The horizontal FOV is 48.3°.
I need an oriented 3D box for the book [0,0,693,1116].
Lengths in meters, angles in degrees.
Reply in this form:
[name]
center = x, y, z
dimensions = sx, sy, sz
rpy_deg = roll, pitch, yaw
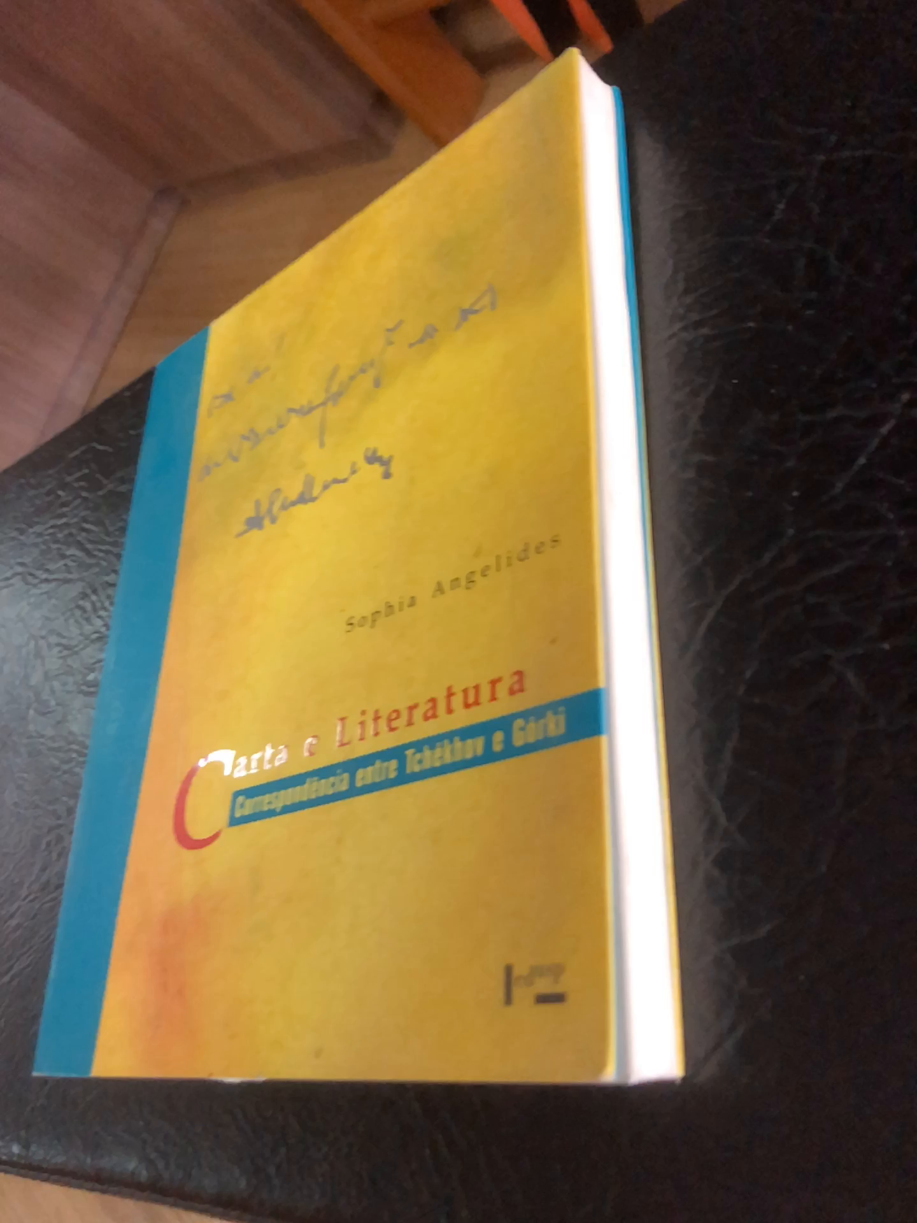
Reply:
[book]
center = -0.036, -0.006, 0.232
dimensions = 0.173, 0.024, 0.208
rpy_deg = -20, 58, 39
